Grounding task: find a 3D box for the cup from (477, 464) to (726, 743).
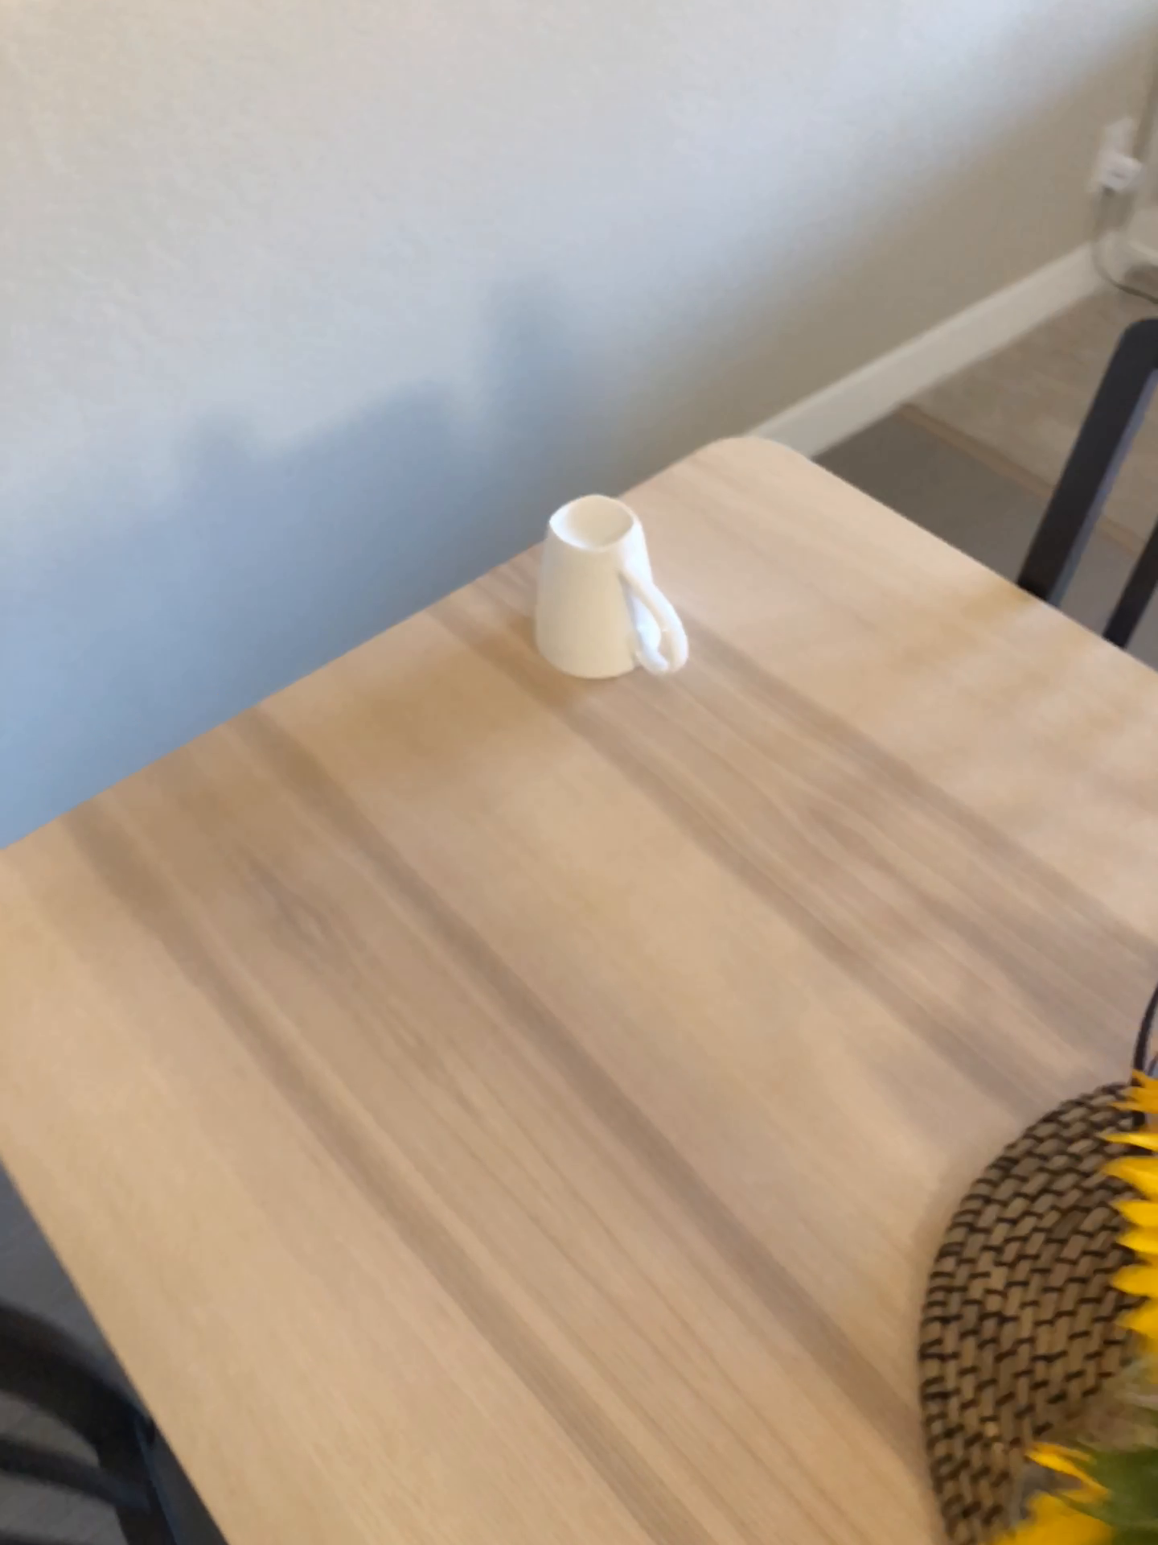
[{"bbox_3d":[0.016,-0.123,0.934,0.140,0.120,0.100,32,56,26],"label":"cup"}]
